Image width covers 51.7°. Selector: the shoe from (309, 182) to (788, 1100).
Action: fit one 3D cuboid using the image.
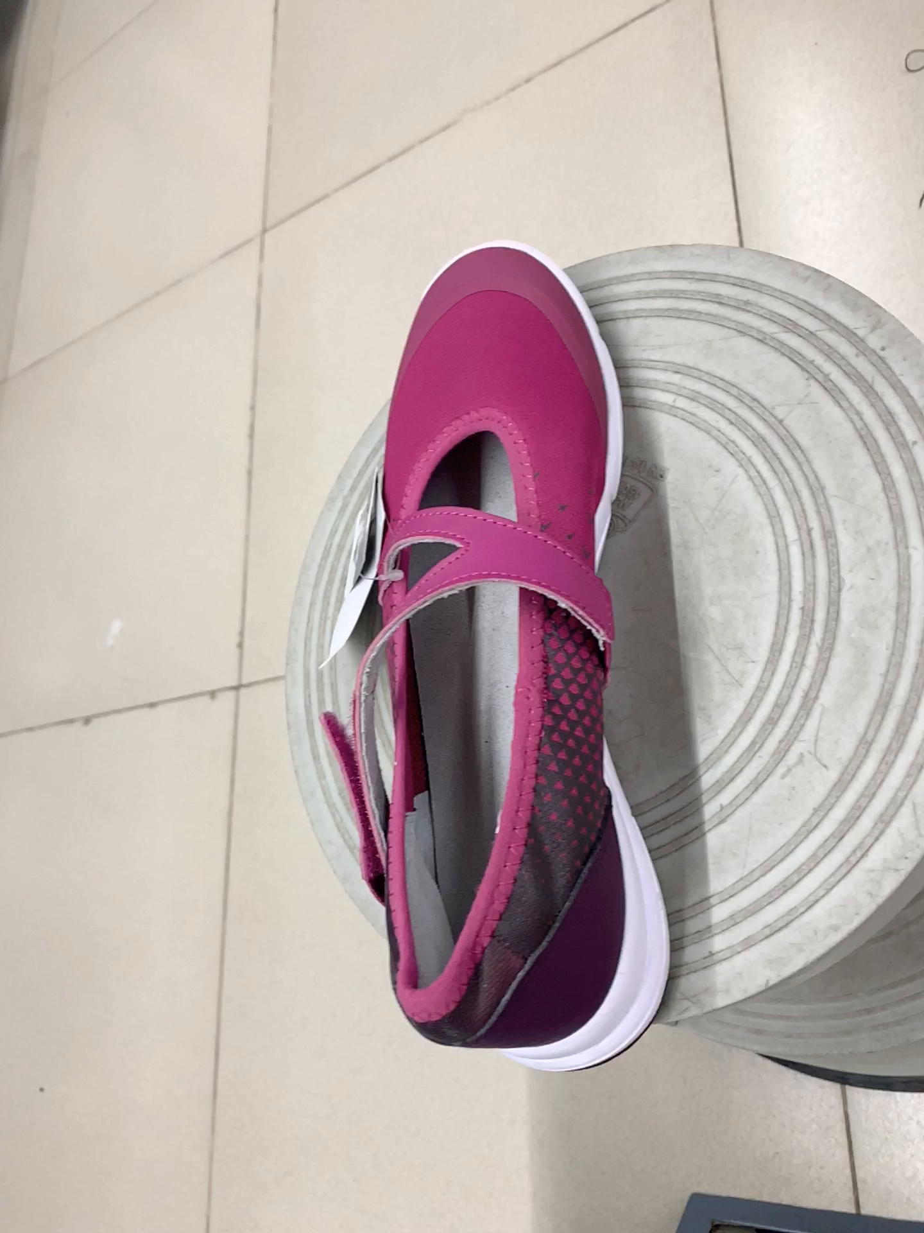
[{"bbox_3d":[0.017,0.006,0.309,0.101,0.070,0.260,-19,66,31],"label":"shoe"}]
